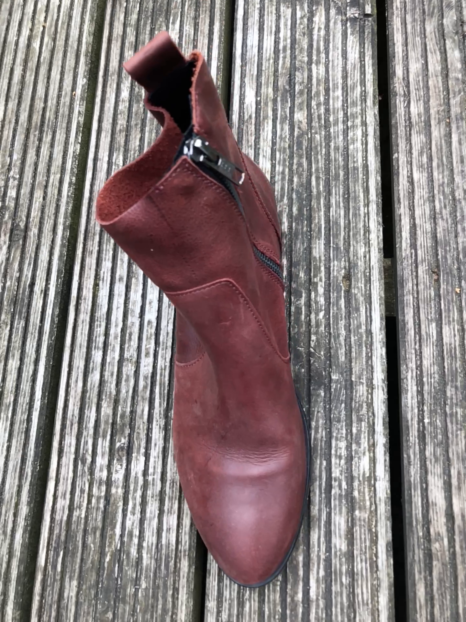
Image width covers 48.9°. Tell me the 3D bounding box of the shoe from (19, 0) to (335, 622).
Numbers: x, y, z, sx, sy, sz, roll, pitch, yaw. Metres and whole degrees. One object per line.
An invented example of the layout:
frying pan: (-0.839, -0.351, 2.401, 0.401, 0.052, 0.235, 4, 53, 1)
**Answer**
shoe: (0.009, 0.011, 0.316, 0.090, 0.240, 0.340, 0, 76, 15)
